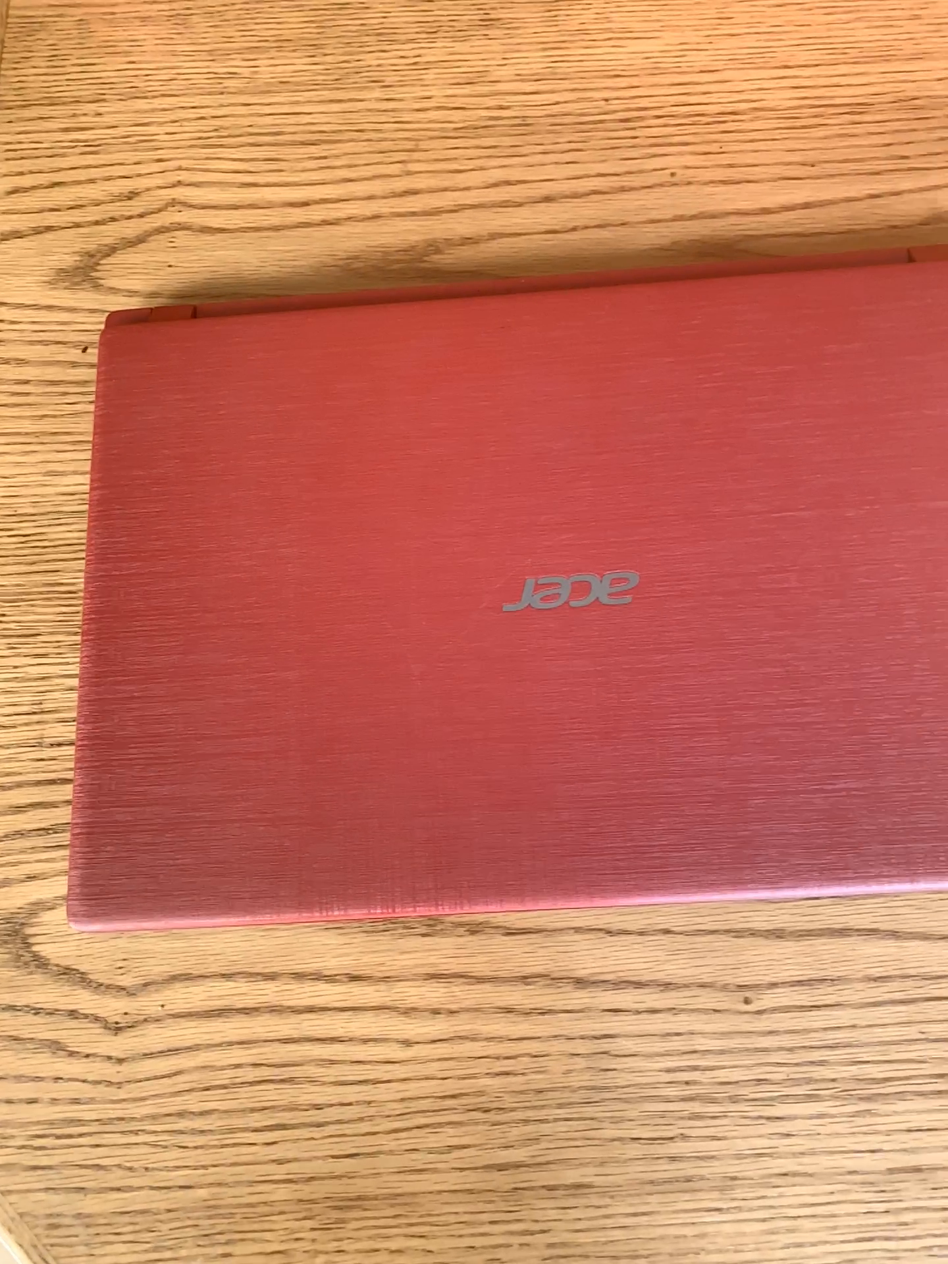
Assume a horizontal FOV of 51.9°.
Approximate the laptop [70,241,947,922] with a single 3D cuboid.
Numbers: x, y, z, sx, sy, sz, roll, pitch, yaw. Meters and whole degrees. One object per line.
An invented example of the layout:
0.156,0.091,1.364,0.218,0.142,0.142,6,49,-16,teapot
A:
0.032,-0.022,0.364,0.362,0.013,0.236,-4,77,4,laptop
